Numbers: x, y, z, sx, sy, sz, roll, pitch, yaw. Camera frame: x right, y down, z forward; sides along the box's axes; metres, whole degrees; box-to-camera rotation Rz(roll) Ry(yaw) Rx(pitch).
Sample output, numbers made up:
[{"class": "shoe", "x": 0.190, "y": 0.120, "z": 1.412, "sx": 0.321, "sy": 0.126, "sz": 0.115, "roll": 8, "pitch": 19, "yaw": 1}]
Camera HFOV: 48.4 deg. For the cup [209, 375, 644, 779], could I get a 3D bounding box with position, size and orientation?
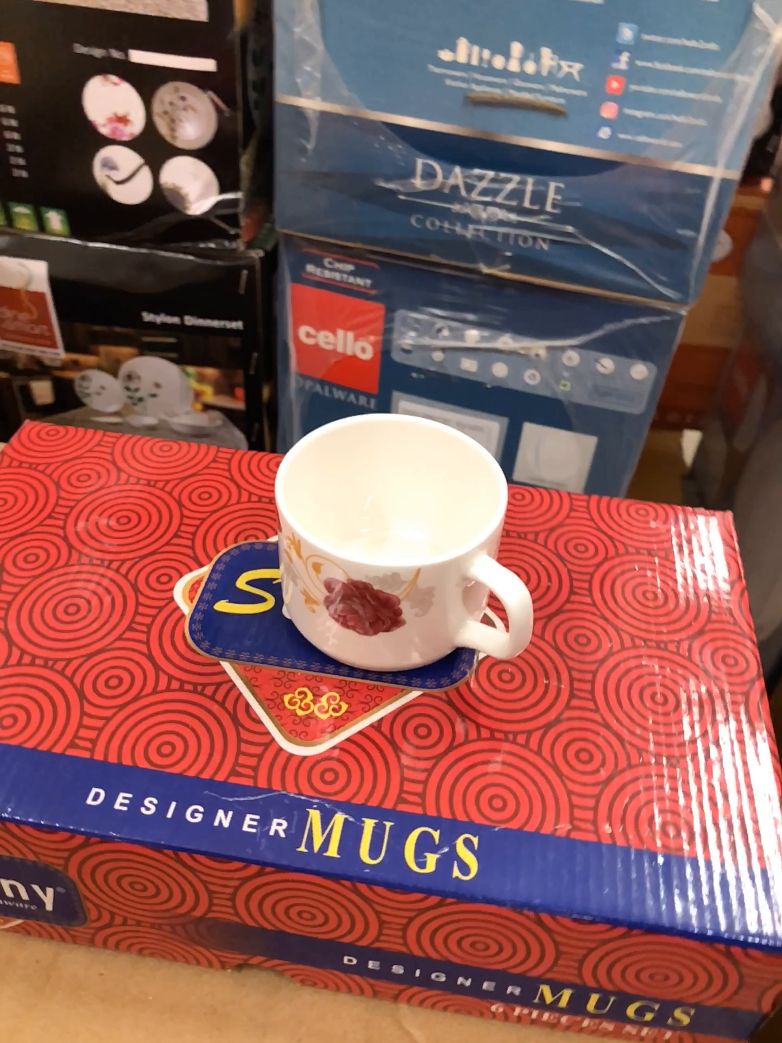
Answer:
[{"class": "cup", "x": 0.009, "y": 0.010, "z": 0.271, "sx": 0.100, "sy": 0.050, "sz": 0.080, "roll": 33, "pitch": 48, "yaw": 28}]
